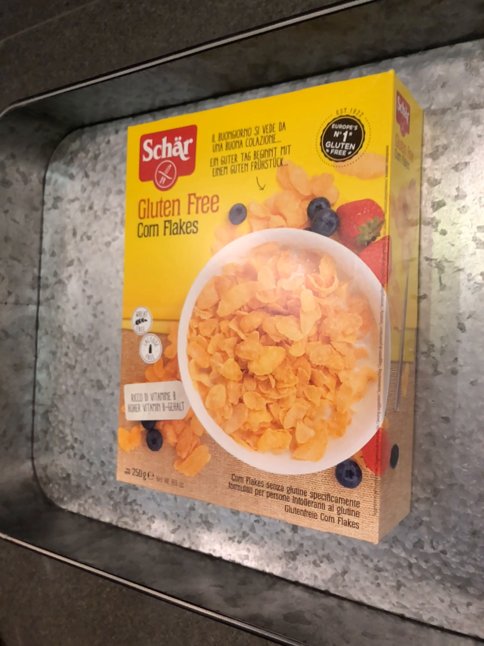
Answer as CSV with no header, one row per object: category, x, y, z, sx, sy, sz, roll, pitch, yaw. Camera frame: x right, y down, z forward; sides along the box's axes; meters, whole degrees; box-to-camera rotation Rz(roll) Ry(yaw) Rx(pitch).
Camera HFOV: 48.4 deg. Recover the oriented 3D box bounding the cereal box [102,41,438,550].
cereal box,0.011,-0.016,0.347,0.201,0.070,0.250,2,90,32
